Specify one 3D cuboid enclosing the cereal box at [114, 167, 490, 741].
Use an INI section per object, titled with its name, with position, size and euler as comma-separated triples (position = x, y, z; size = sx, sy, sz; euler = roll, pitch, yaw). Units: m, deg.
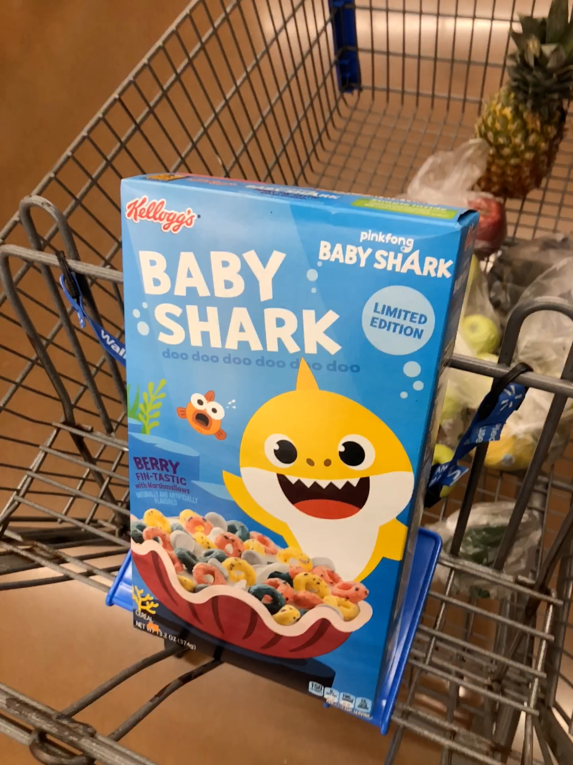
[cereal box]
position = -0.006, 0.053, 0.412
size = 0.190, 0.340, 0.070
euler = 14, 27, 18
